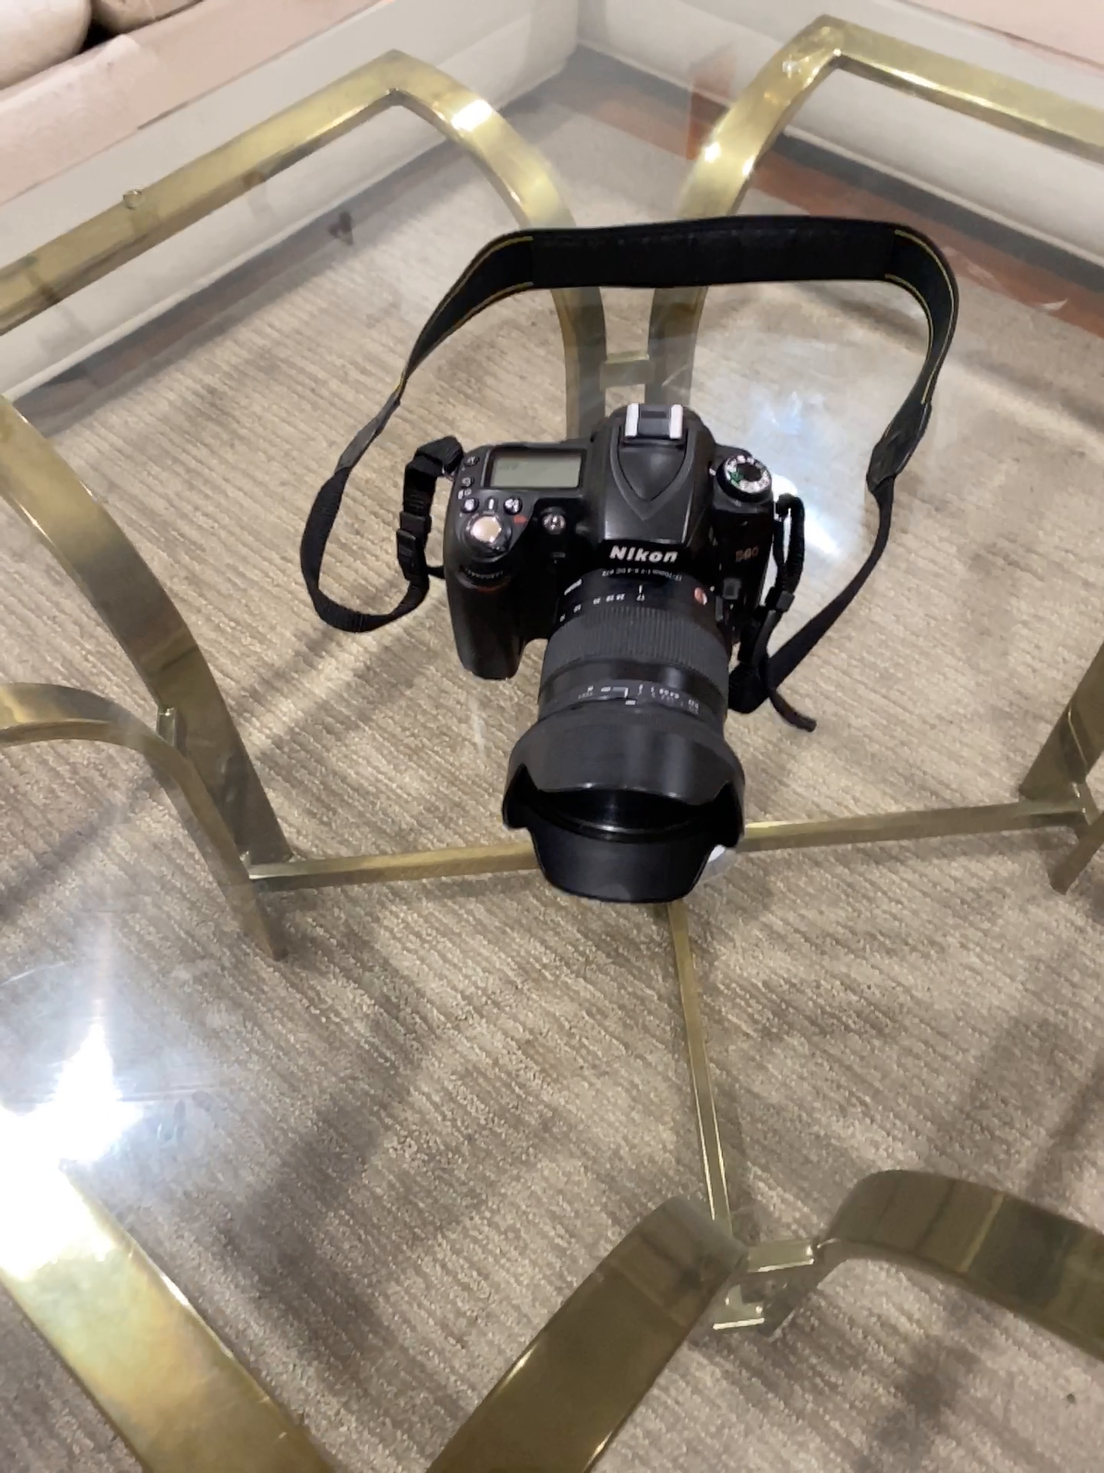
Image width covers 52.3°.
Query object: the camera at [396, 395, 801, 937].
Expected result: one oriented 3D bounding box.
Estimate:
[{"bbox_3d":[0.022,-0.030,0.461,0.130,0.120,0.181,3,56,3],"label":"camera"}]
